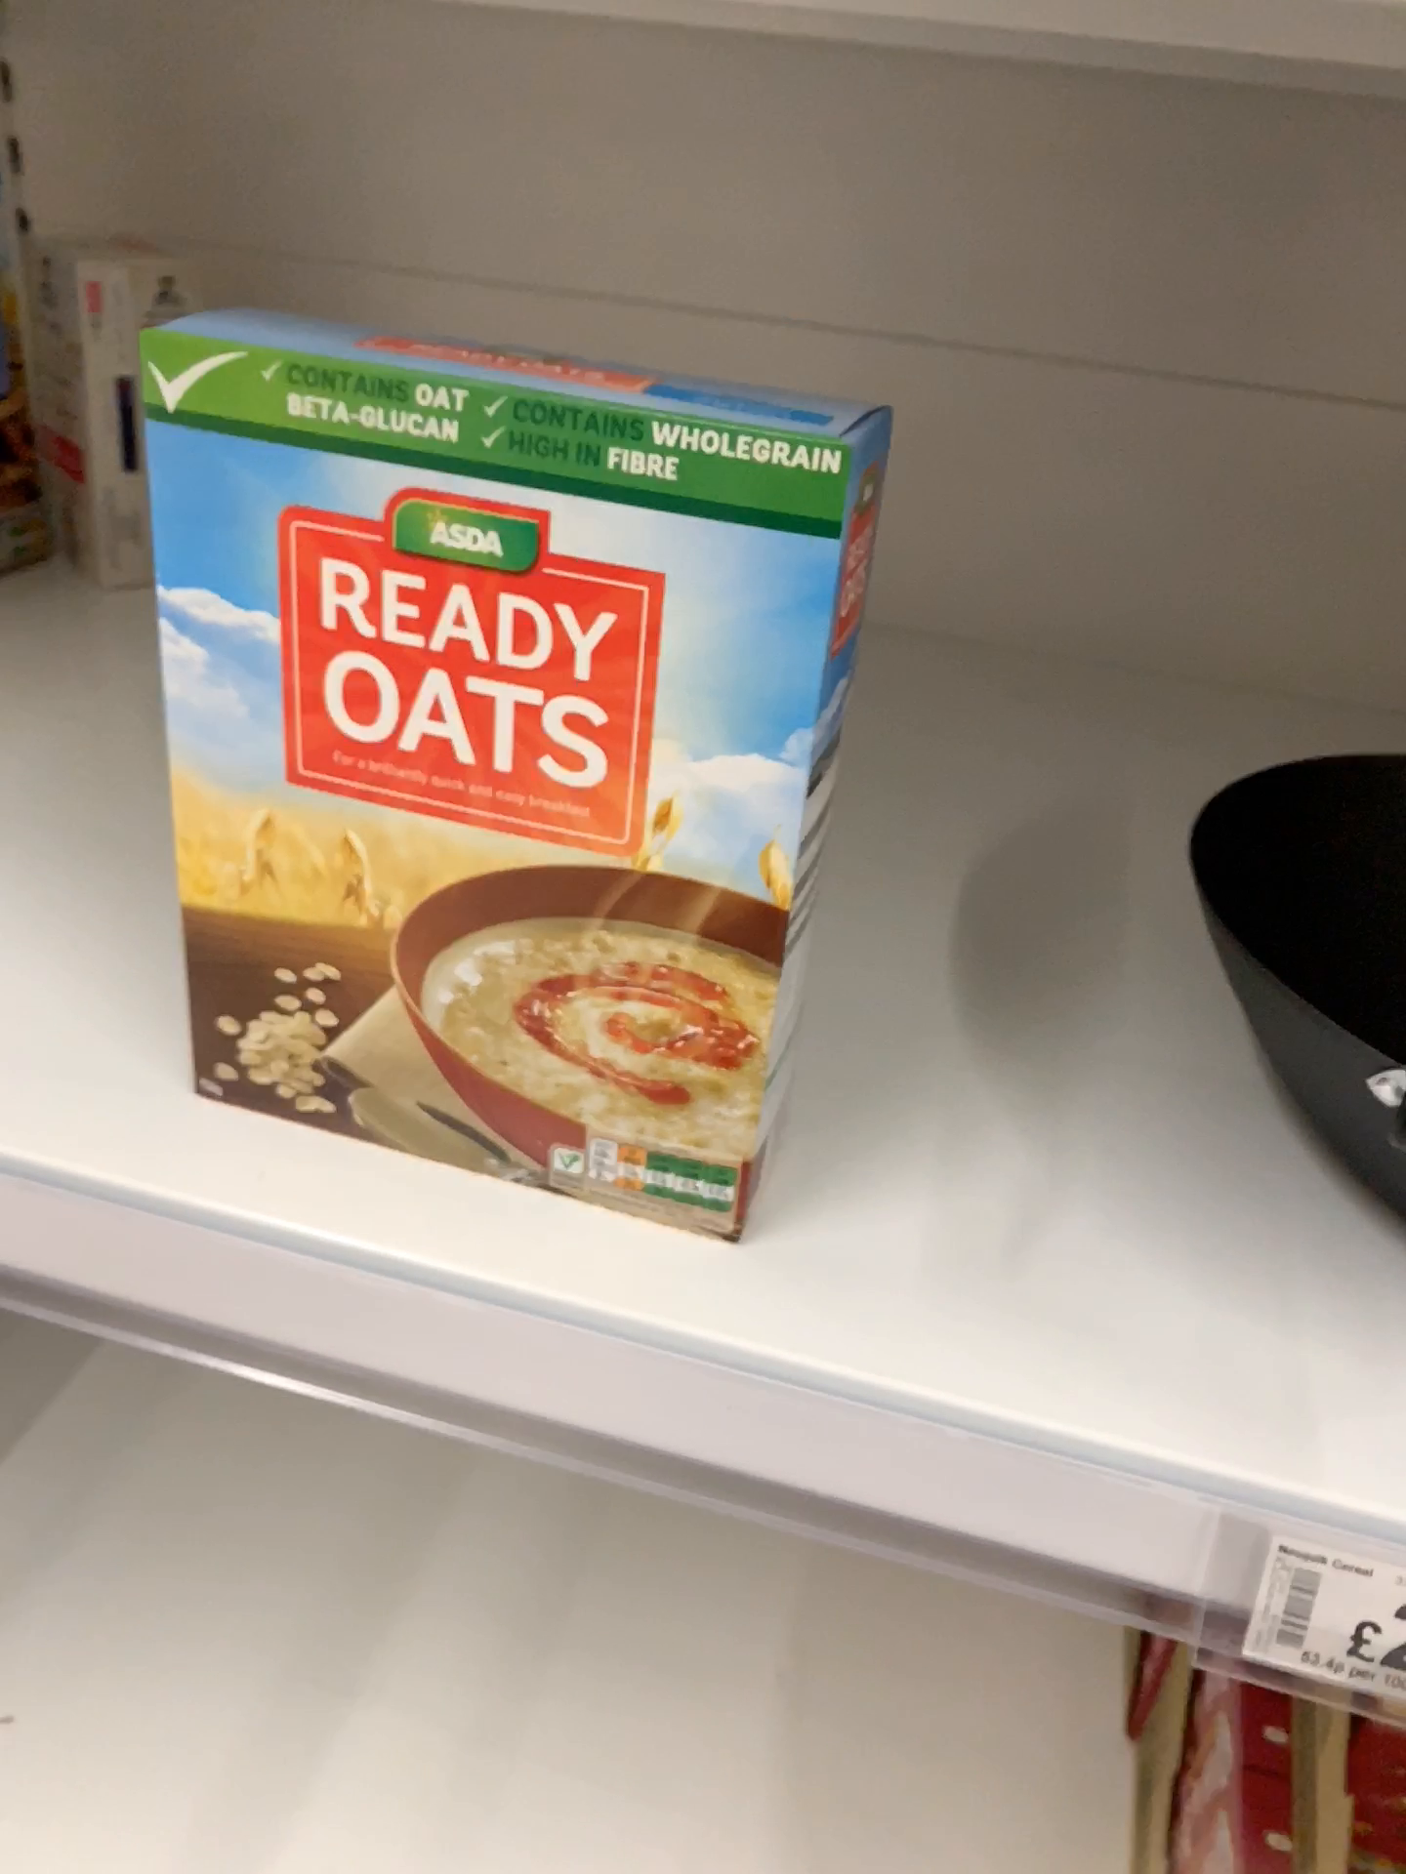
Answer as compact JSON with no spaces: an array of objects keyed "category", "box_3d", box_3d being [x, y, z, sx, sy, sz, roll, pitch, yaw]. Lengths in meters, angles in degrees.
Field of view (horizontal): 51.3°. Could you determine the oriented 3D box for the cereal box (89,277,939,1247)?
[{"category":"cereal box","box_3d":[-0.061,-0.054,0.468,0.220,0.258,0.081,13,30,11]}]
